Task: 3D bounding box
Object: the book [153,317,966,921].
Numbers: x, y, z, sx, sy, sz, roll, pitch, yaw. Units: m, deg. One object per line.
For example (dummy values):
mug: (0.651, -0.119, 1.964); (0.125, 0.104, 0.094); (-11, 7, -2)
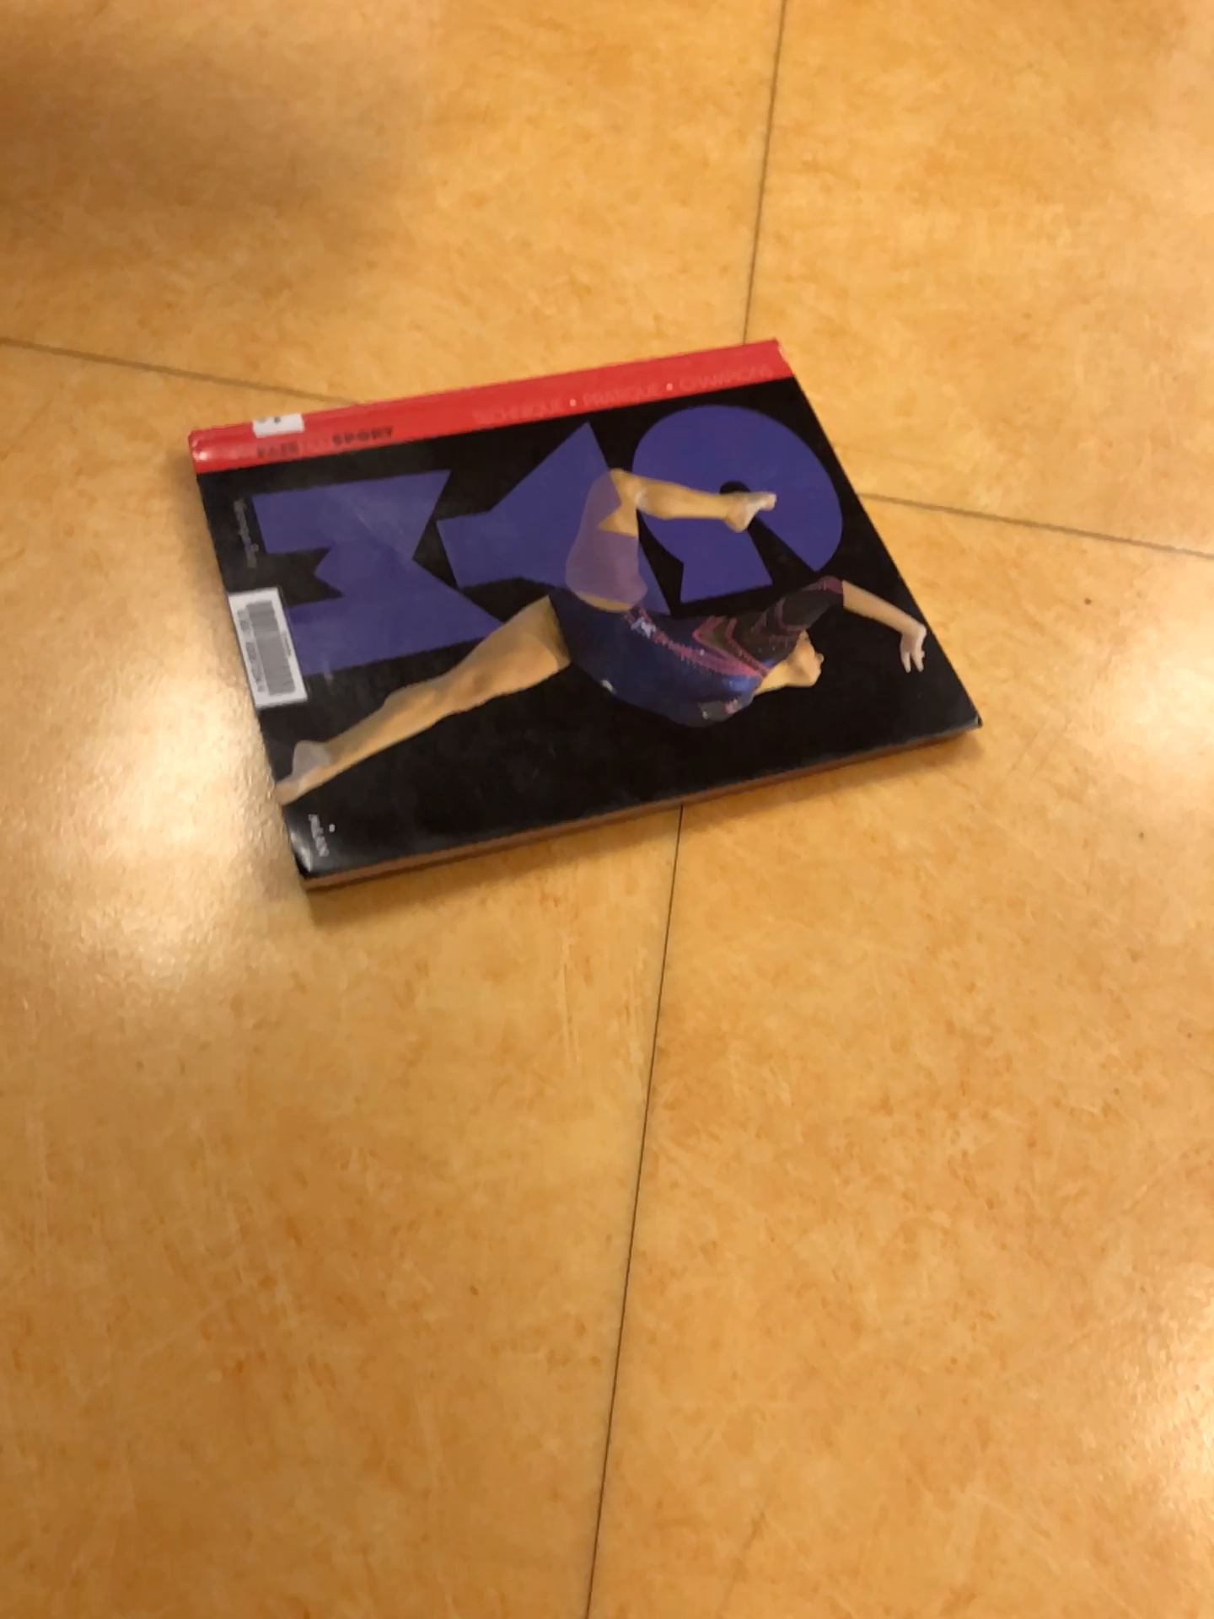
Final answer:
book: (-0.022, -0.081, 0.475); (0.234, 0.030, 0.193); (-14, 63, -15)
